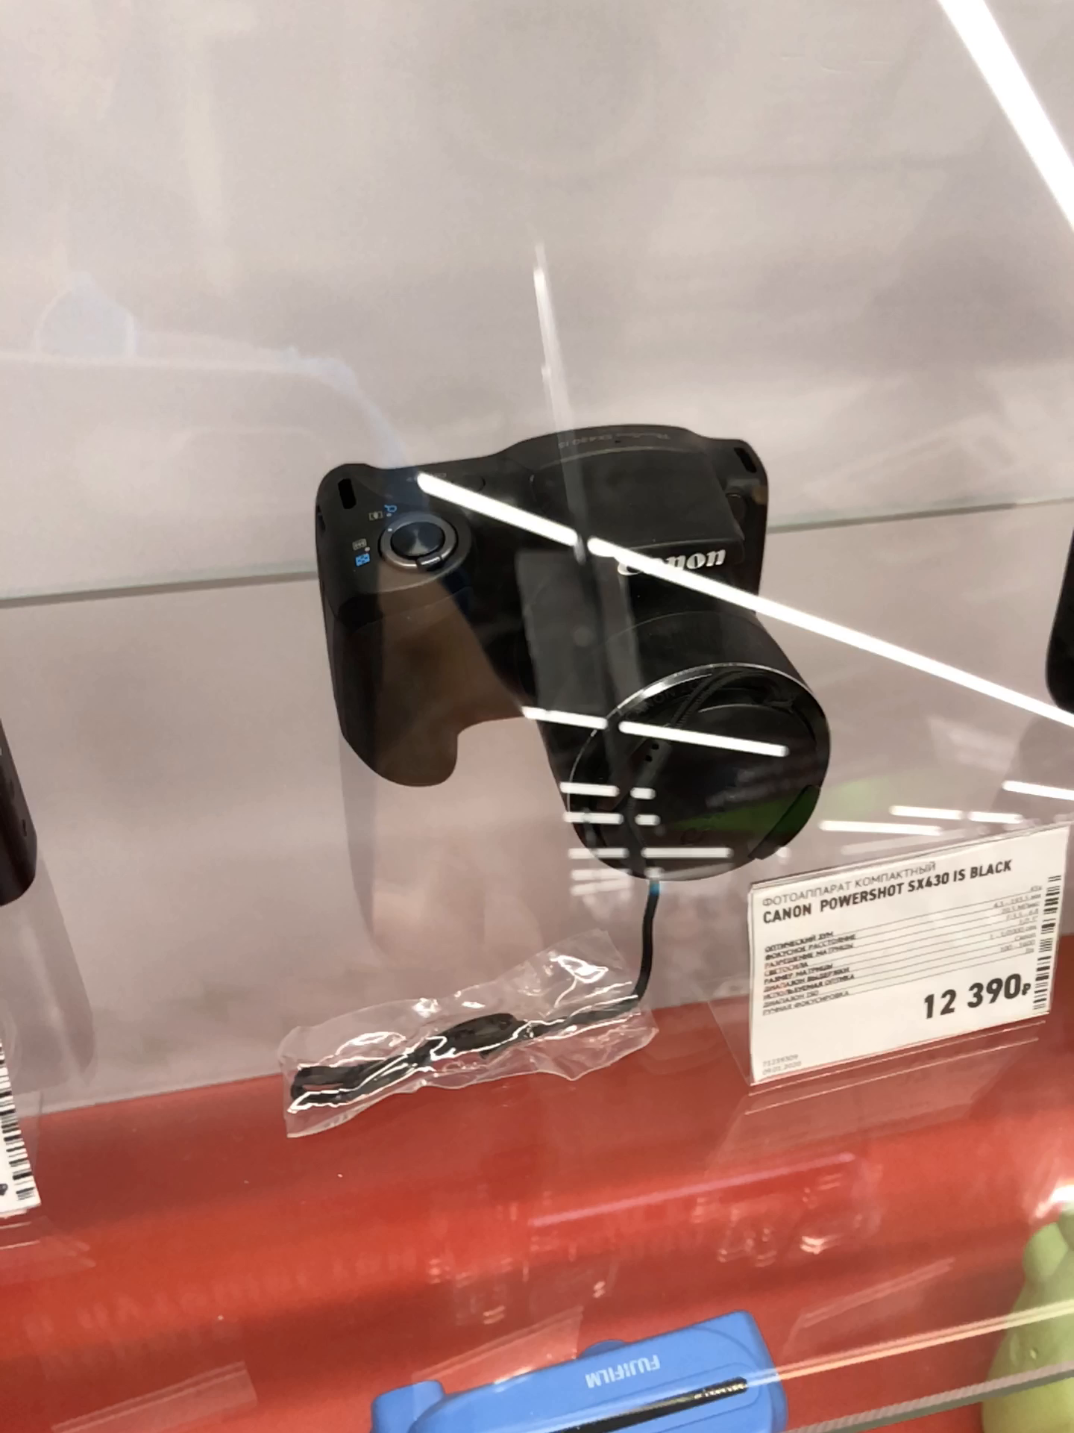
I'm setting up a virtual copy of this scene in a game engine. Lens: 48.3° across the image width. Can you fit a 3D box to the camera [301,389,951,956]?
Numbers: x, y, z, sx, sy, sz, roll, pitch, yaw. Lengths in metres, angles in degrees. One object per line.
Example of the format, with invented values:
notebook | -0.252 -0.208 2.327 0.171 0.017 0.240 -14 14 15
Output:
camera | 0.011 -0.014 0.267 0.113 0.080 0.086 -7 38 -10
